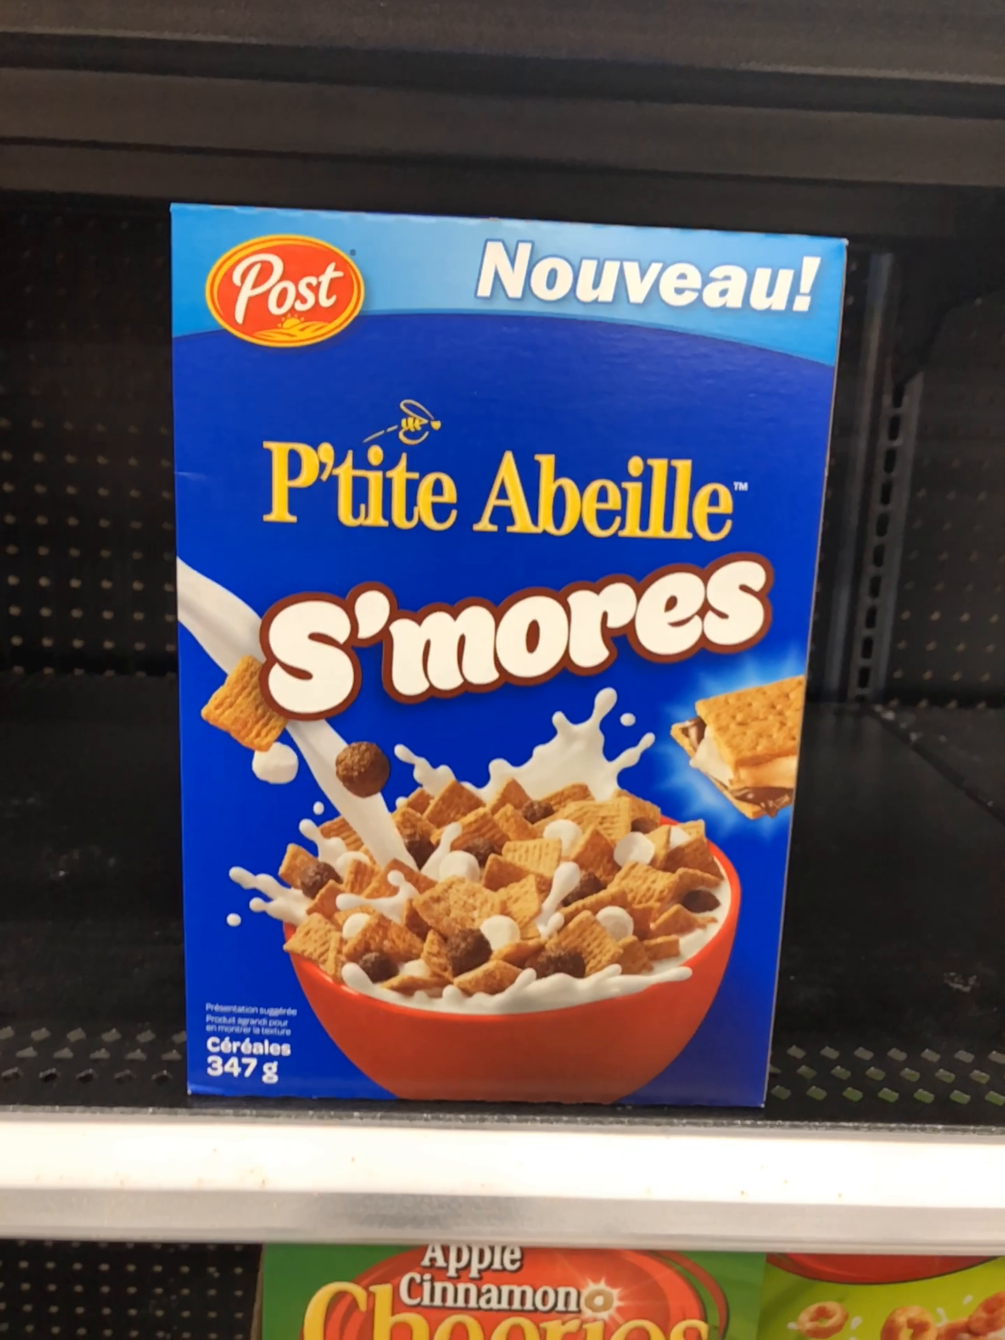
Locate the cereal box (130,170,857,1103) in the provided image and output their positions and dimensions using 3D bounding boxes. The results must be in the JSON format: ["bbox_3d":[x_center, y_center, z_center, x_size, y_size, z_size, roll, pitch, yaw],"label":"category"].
[{"bbox_3d":[-0.007,-0.002,0.364,0.200,0.279,0.060,1,12,-4],"label":"cereal box"}]
